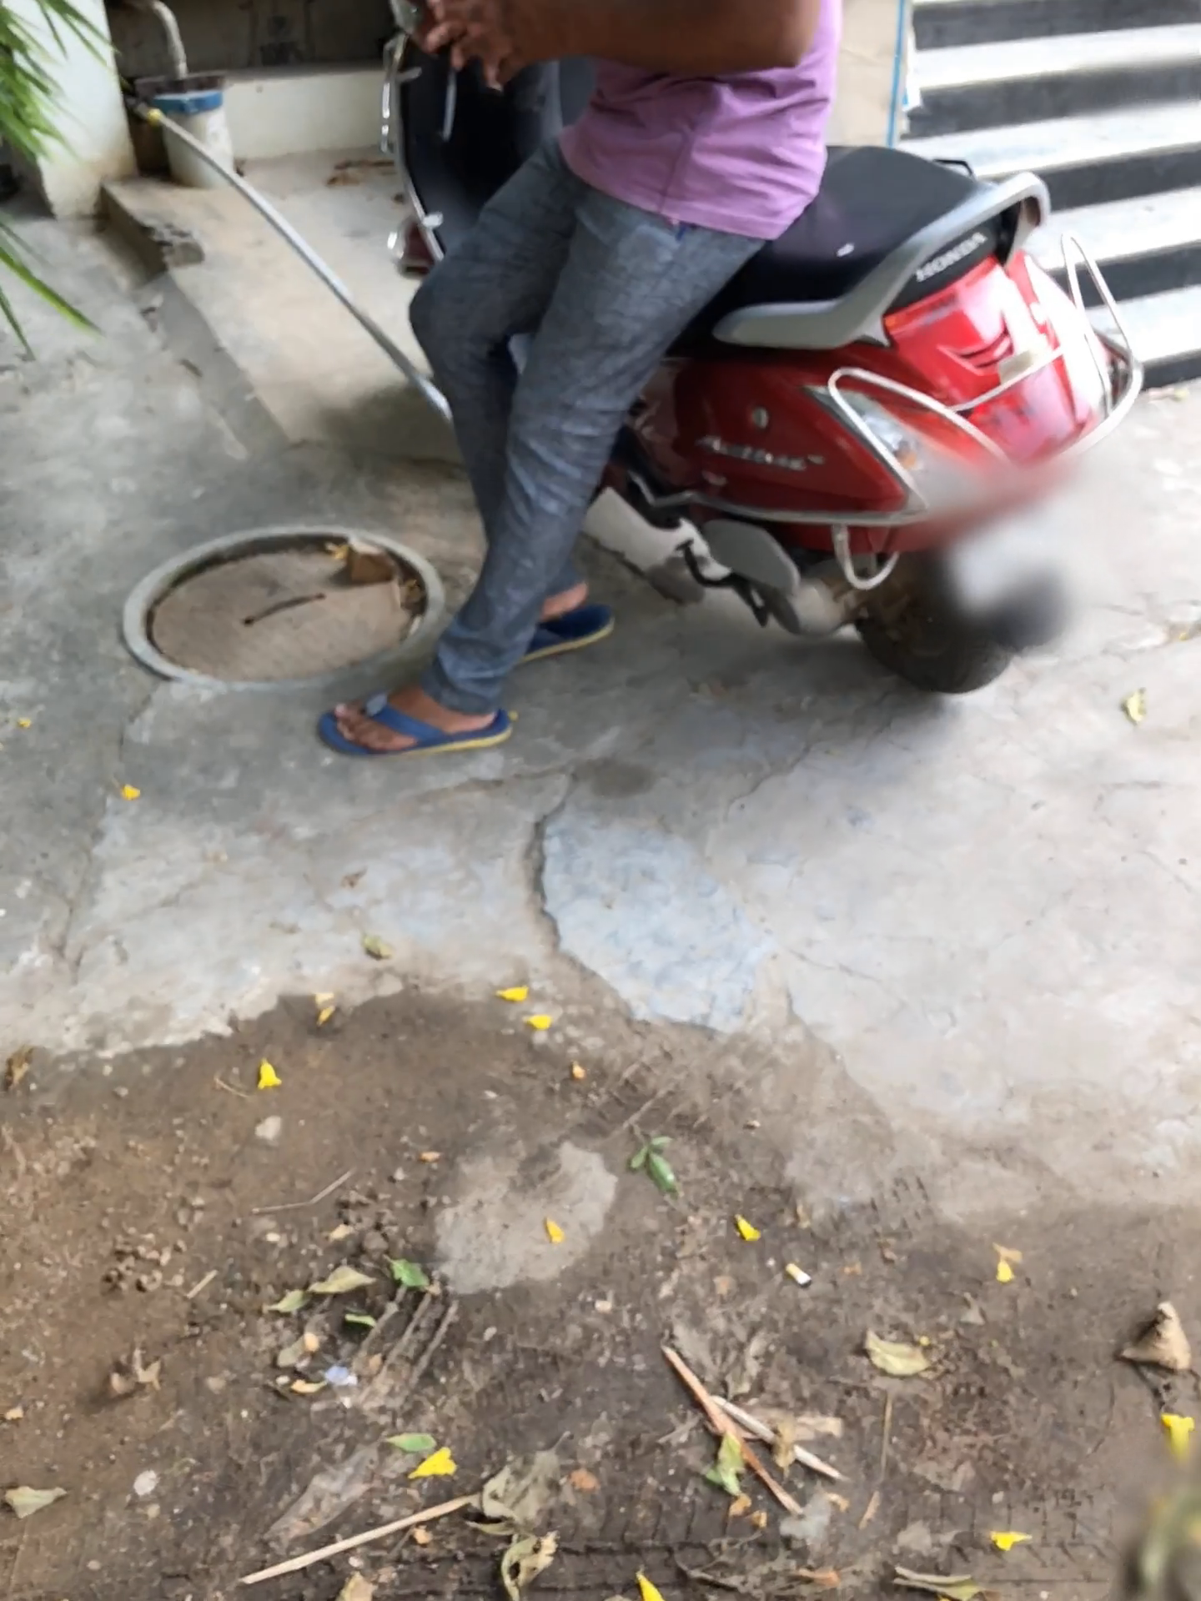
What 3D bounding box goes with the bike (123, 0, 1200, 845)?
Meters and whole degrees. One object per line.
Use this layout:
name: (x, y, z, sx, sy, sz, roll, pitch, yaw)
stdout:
bike: (-0.029, -0.870, 1.976, 0.574, 1.056, 1.481, -25, 46, -28)
